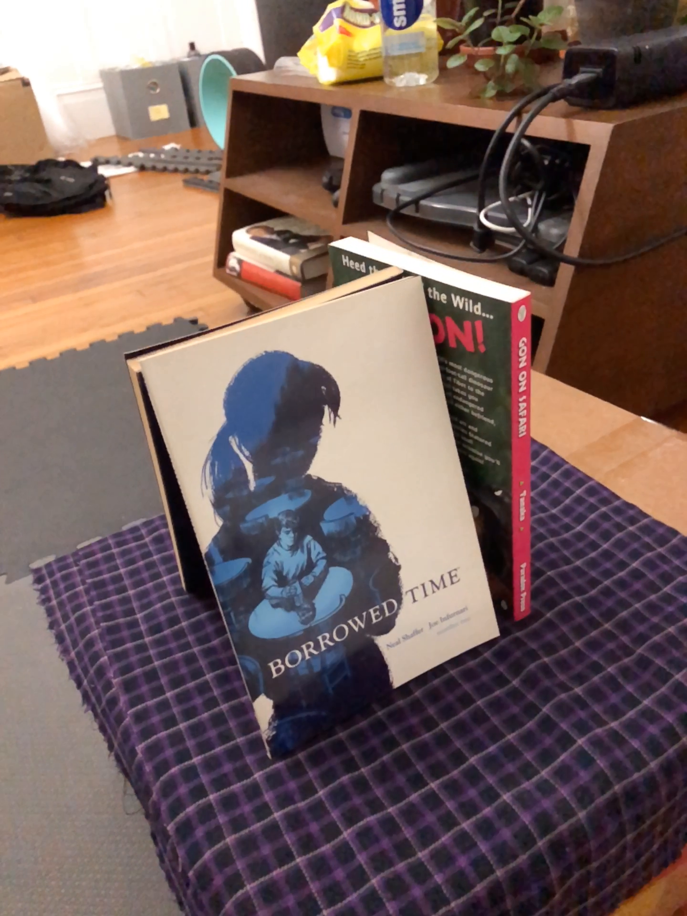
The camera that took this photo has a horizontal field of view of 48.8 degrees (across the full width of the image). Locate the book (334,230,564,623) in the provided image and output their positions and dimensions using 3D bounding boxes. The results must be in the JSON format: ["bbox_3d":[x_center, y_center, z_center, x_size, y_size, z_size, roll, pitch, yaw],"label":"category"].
[{"bbox_3d":[0.059,-0.018,0.417,0.020,0.189,0.141,-29,38,-20],"label":"book"}]

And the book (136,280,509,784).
[{"bbox_3d":[0.002,0.033,0.356,0.140,0.199,0.010,-21,16,-24],"label":"book"}]

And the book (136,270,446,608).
[{"bbox_3d":[-0.024,0.000,0.417,0.150,0.199,0.010,-22,56,-20],"label":"book"}]
